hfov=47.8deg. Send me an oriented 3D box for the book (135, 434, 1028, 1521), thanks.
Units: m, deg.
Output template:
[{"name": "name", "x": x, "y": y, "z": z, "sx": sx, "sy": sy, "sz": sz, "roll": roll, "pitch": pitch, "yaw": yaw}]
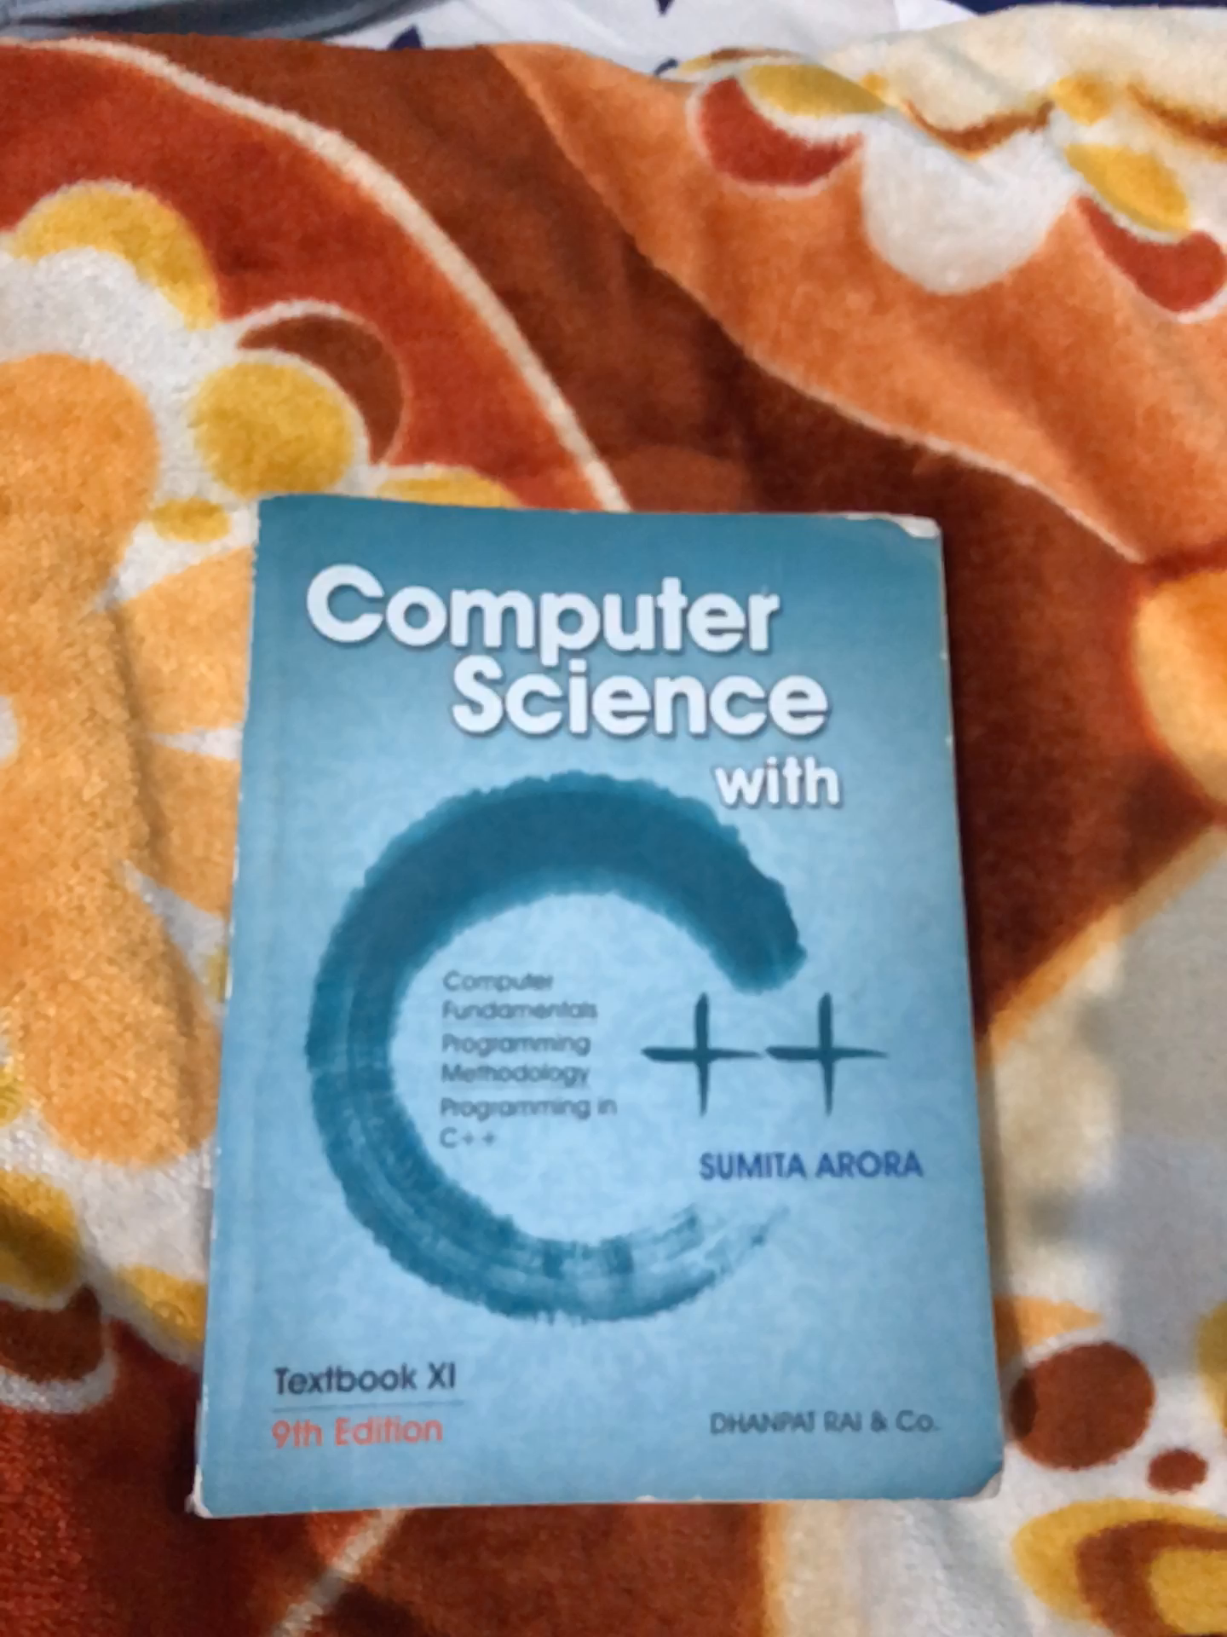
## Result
[{"name": "book", "x": -0.006, "y": 0.035, "z": 0.375, "sx": 0.210, "sy": 0.040, "sz": 0.270, "roll": 2, "pitch": 77, "yaw": -7}]
